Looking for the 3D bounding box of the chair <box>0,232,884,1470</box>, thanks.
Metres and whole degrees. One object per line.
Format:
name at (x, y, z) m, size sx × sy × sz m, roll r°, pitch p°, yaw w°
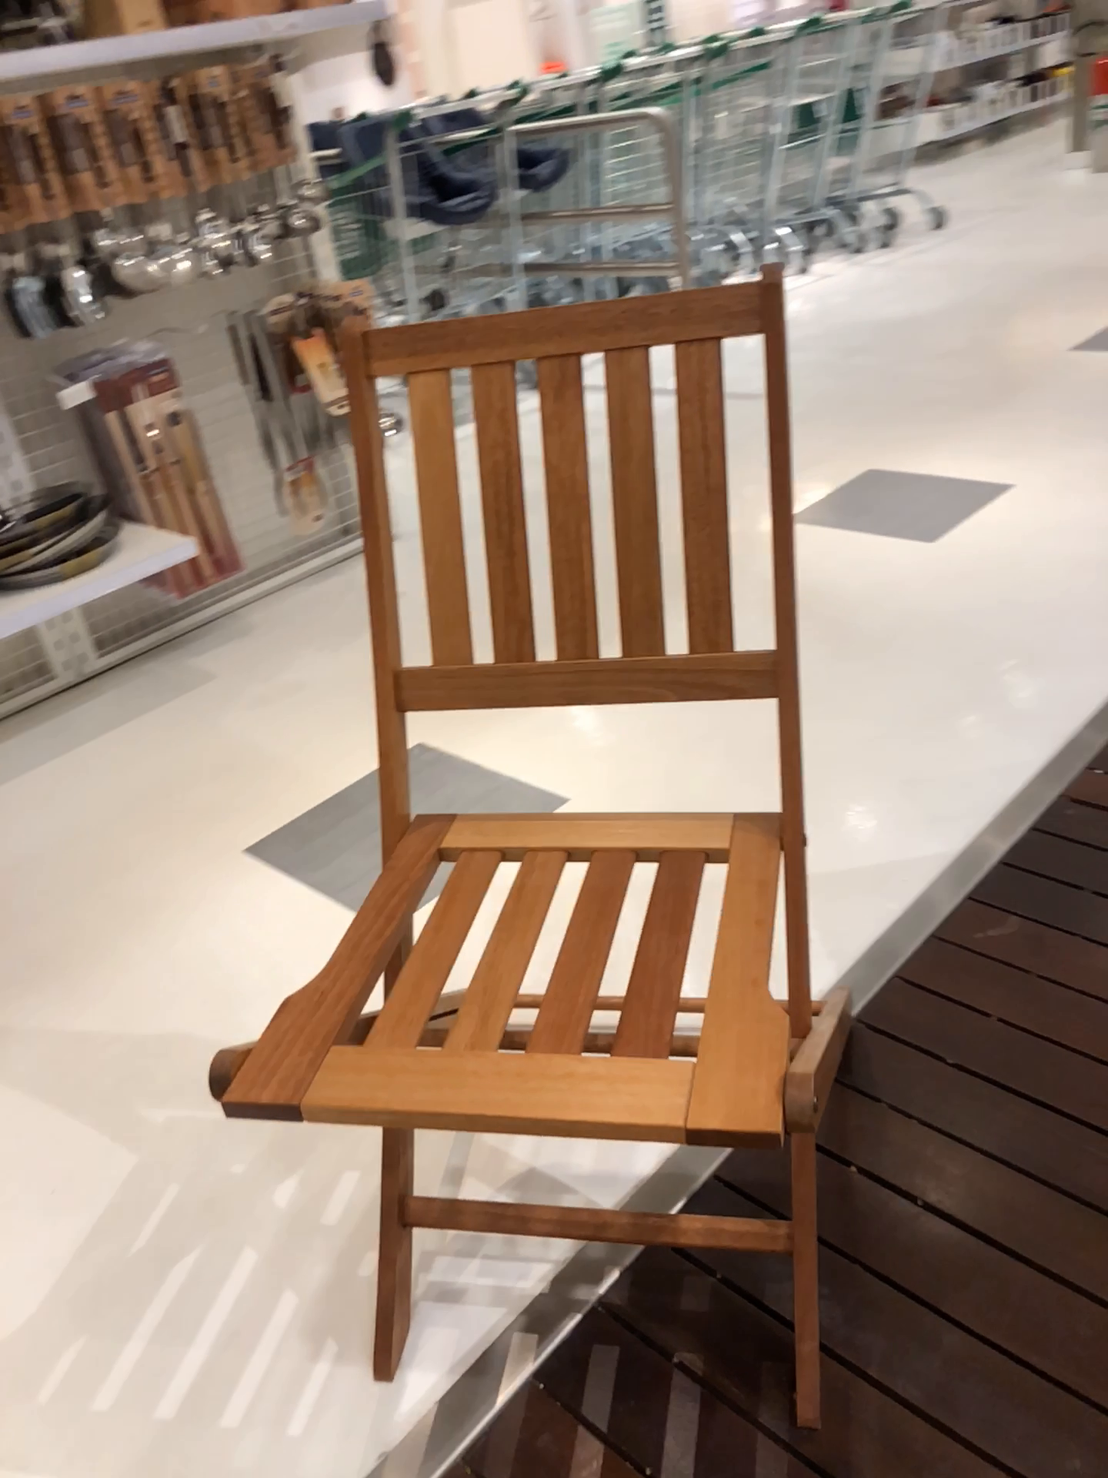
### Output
chair at (0.019, 0.079, 1.107) m, size 0.500 × 0.864 × 0.604 m, roll -2°, pitch 29°, yaw 15°
